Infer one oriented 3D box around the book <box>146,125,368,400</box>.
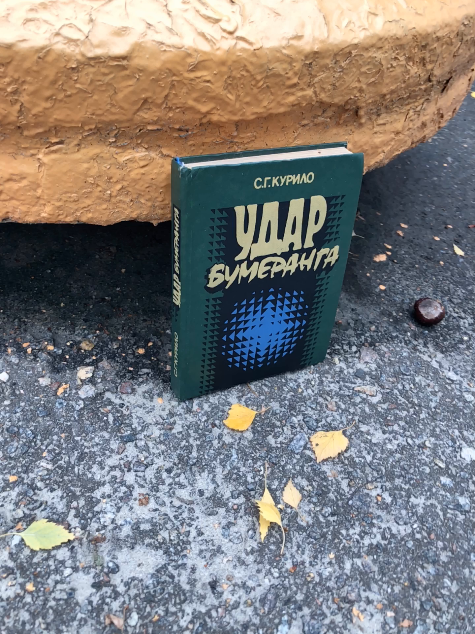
[{"bbox_3d":[0.011,-0.032,0.364,0.131,0.178,0.029,-14,41,-20],"label":"book"}]
